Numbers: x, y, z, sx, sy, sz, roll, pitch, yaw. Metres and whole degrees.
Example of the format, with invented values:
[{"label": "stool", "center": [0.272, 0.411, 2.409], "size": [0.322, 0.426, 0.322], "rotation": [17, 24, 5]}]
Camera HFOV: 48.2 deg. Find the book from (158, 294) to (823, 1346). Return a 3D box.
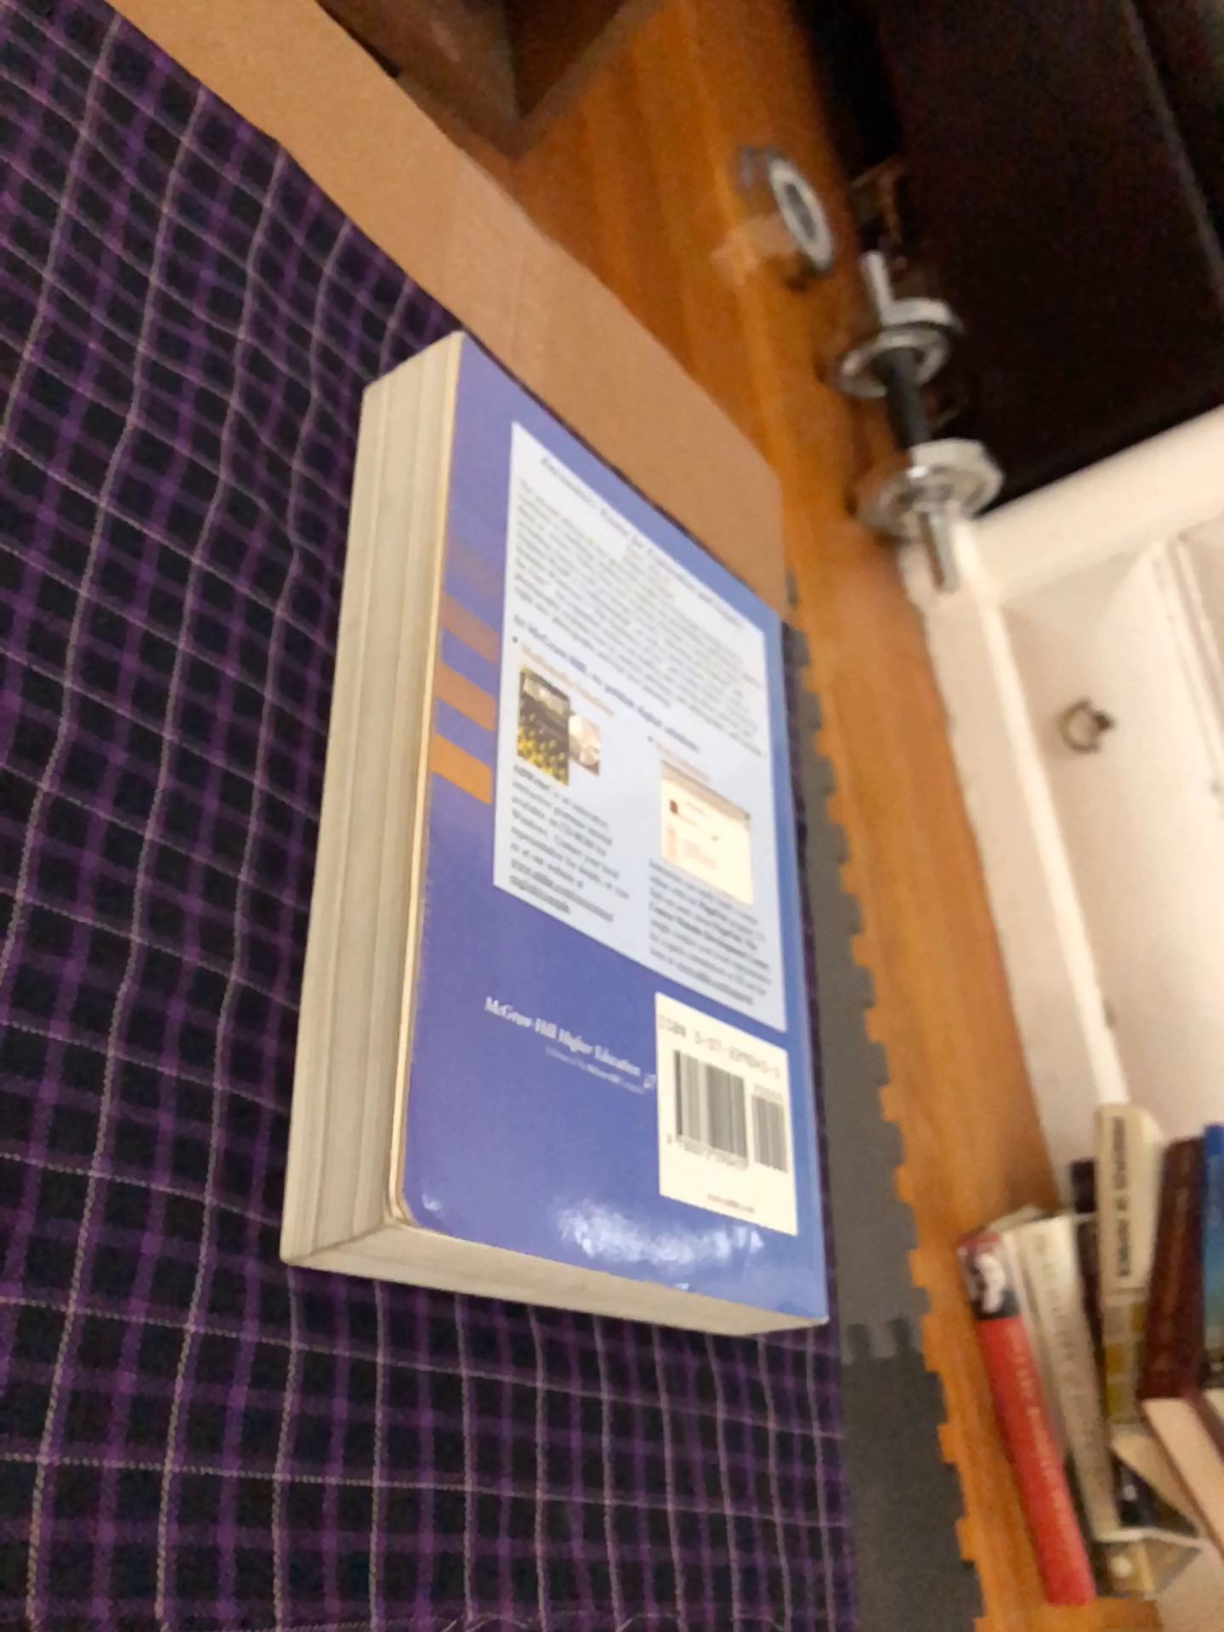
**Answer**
[{"label": "book", "center": [-0.018, 0.008, 0.373], "size": [0.181, 0.040, 0.241], "rotation": [29, 50, -44]}]
